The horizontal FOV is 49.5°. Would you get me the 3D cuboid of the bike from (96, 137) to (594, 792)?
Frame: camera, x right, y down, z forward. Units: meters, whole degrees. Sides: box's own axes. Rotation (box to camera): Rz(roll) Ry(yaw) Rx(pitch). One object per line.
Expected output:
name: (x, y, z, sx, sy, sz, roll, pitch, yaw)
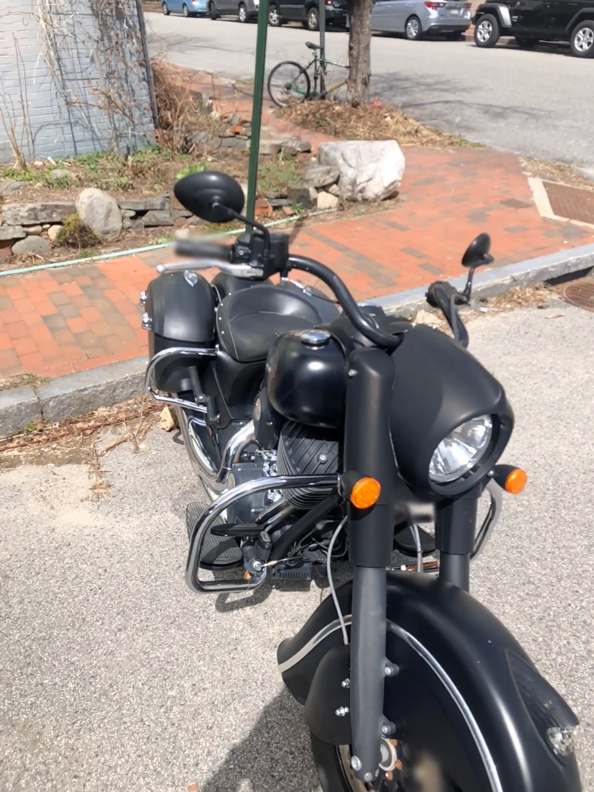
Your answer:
bike: (0.040, 0.094, 1.828, 0.781, 1.237, 2.138, -13, 31, -16)
